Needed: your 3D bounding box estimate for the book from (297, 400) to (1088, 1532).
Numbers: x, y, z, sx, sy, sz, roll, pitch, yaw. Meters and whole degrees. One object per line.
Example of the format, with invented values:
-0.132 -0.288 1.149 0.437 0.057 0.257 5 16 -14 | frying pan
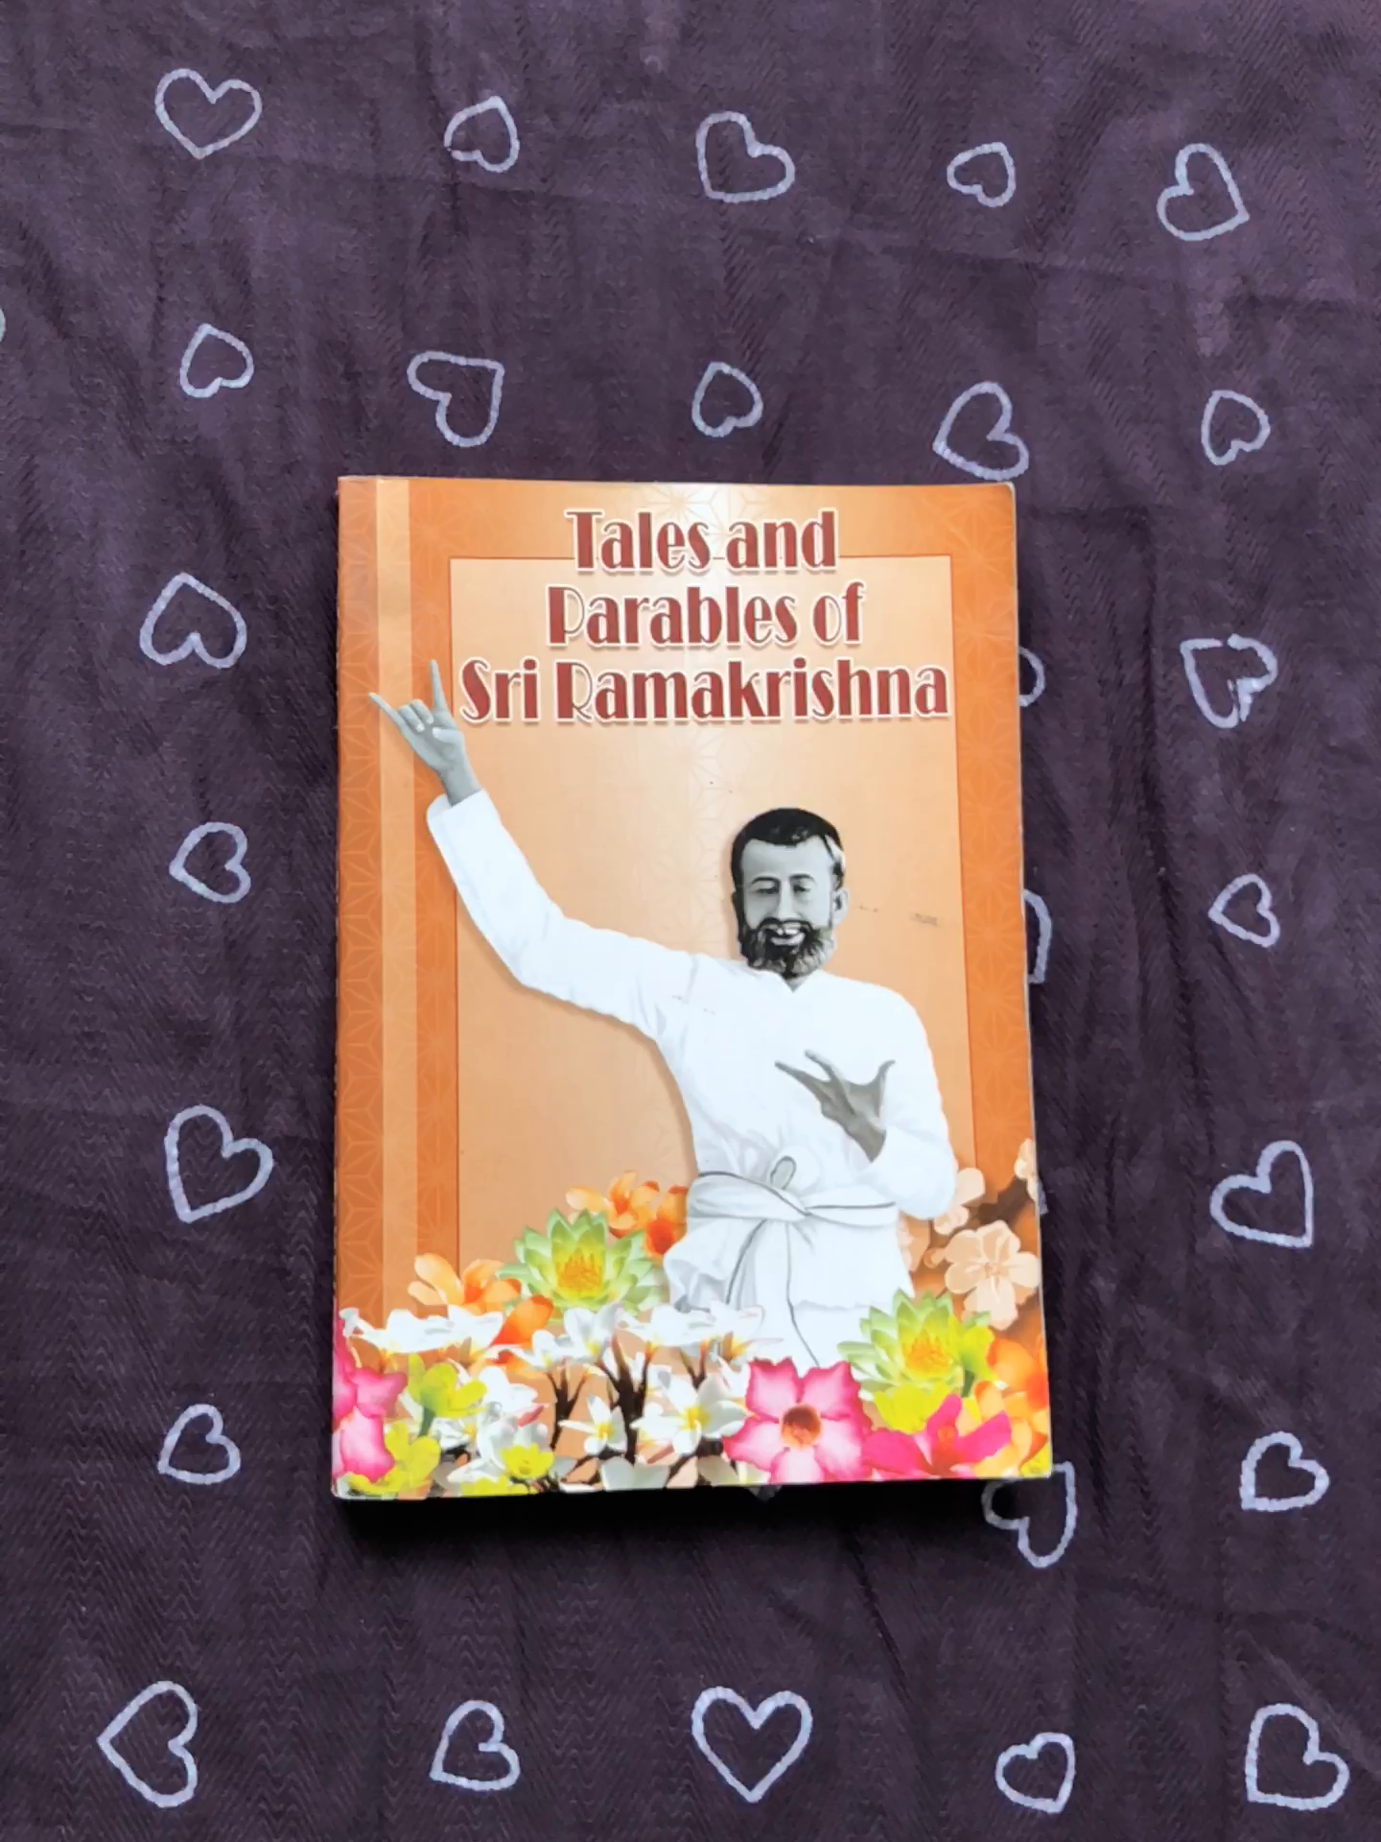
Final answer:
-0.001 0.004 0.273 0.130 0.020 0.190 -1 84 -5 | book
